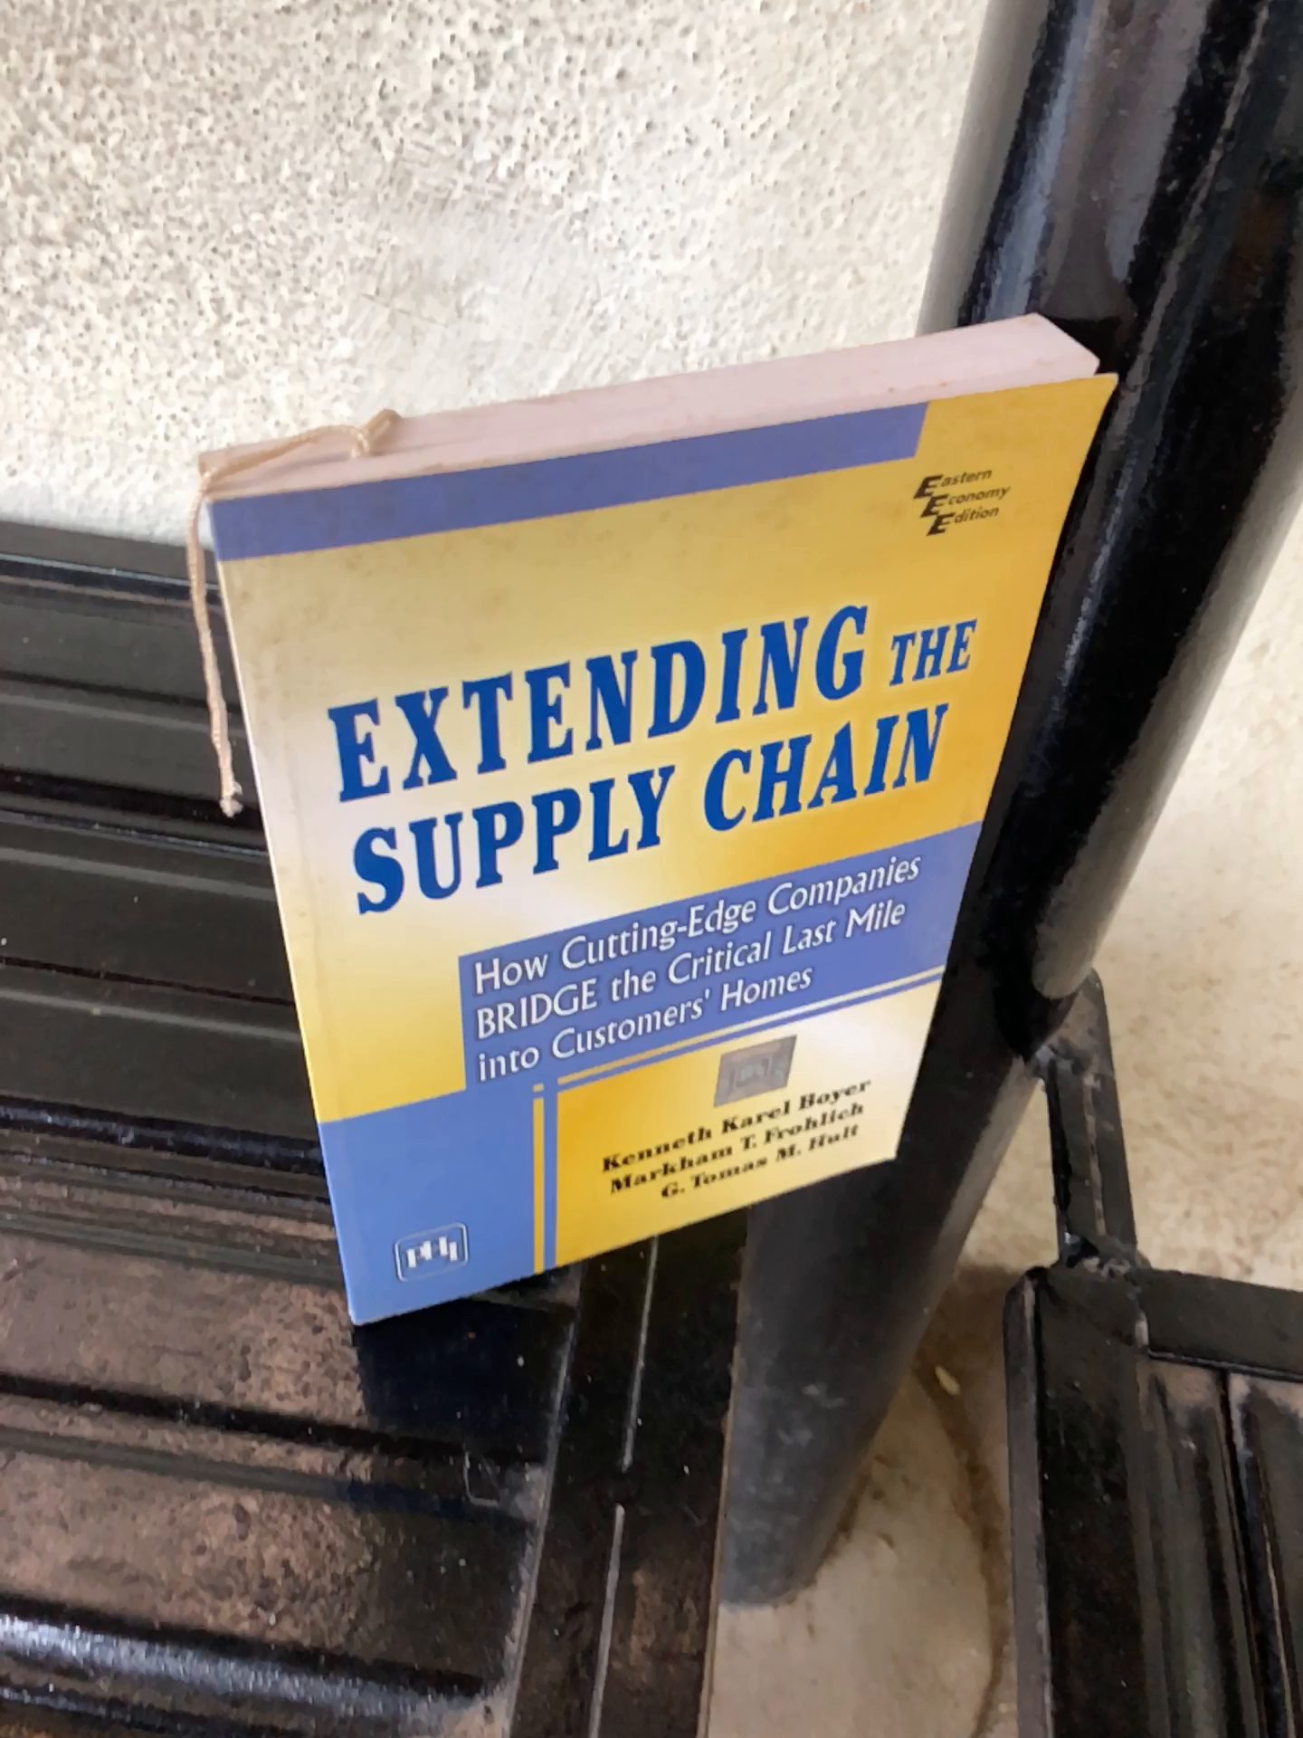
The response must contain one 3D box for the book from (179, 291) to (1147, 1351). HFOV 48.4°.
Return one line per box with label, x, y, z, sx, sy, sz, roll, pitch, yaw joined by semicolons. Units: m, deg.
book;-0.002;0.006;0.302;0.150;0.229;0.030;-12;45;-19
